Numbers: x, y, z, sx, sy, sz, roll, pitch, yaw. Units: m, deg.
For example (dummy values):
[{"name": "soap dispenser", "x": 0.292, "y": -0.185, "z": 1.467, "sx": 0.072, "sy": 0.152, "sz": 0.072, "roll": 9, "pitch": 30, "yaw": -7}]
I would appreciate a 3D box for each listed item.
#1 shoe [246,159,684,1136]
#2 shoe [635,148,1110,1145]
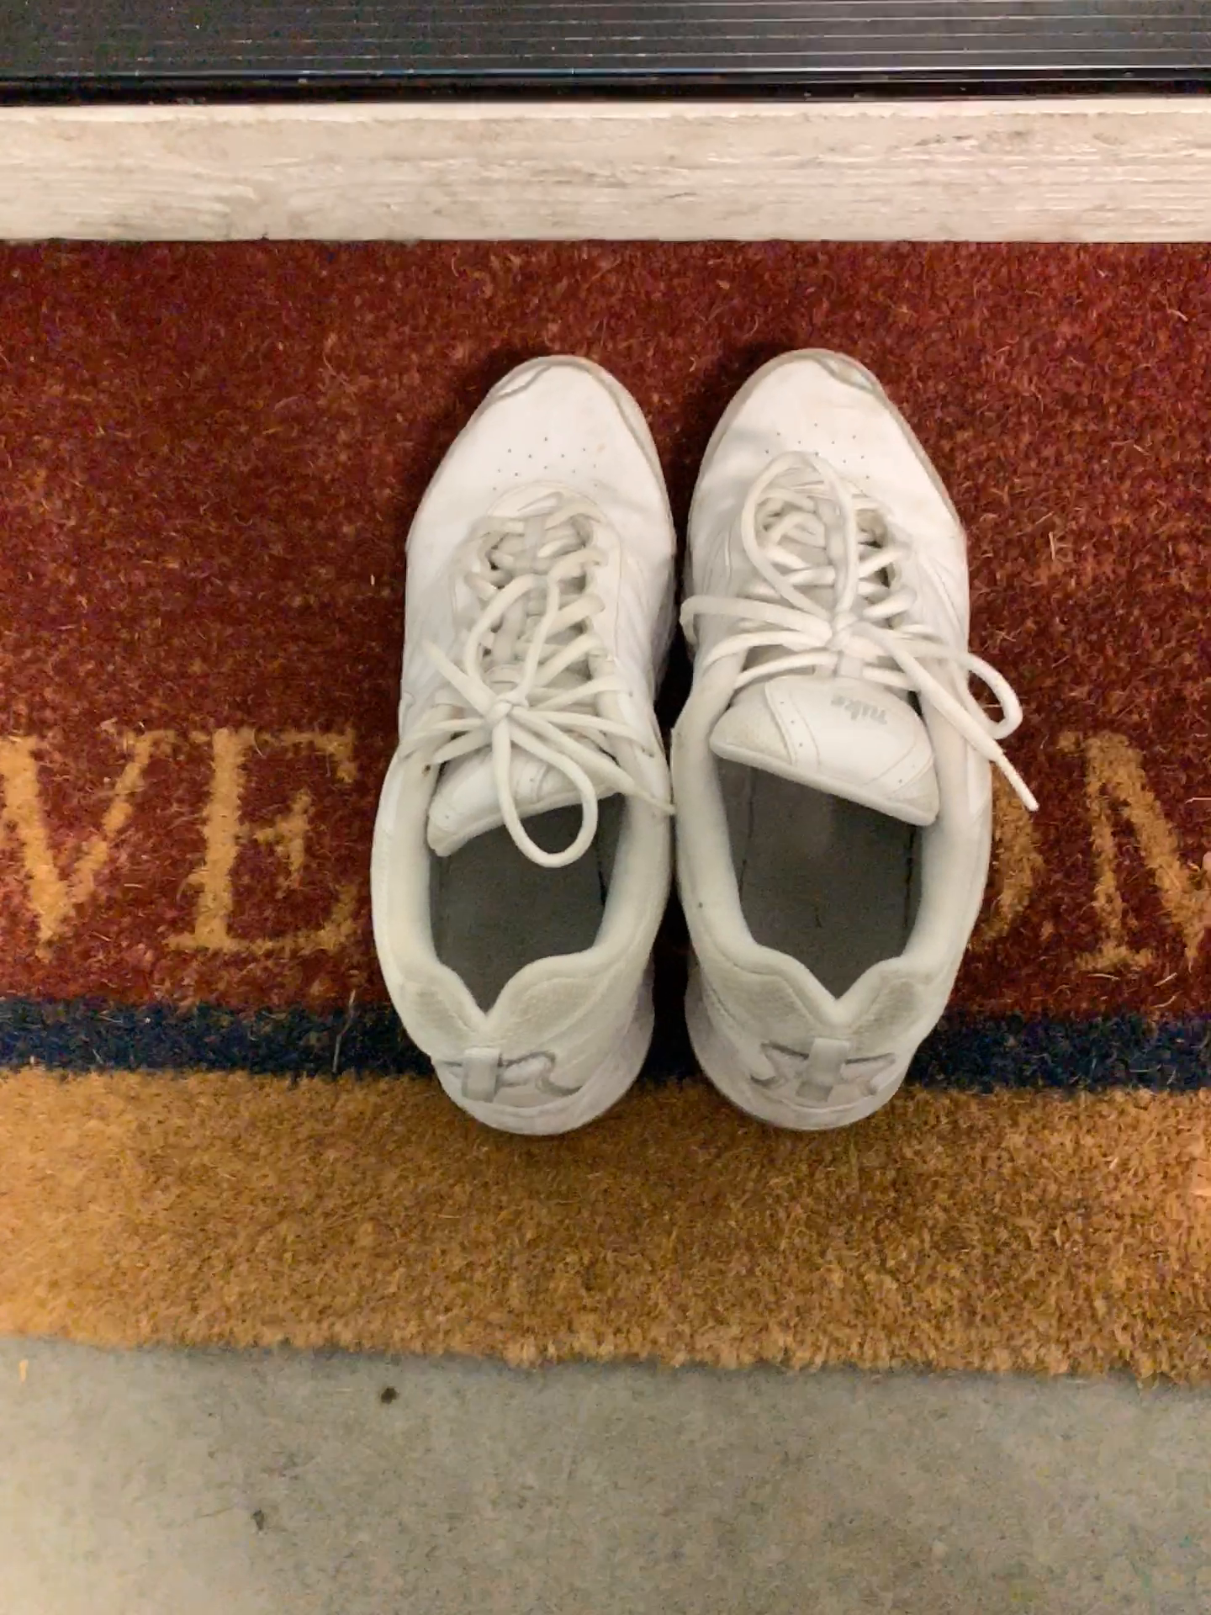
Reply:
[{"name": "shoe", "x": -0.032, "y": -0.046, "z": 0.425, "sx": 0.110, "sy": 0.130, "sz": 0.301, "roll": 1, "pitch": 76, "yaw": 3}, {"name": "shoe", "x": 0.076, "y": -0.046, "z": 0.418, "sx": 0.120, "sy": 0.130, "sz": 0.301, "roll": 1, "pitch": 76, "yaw": 3}]
